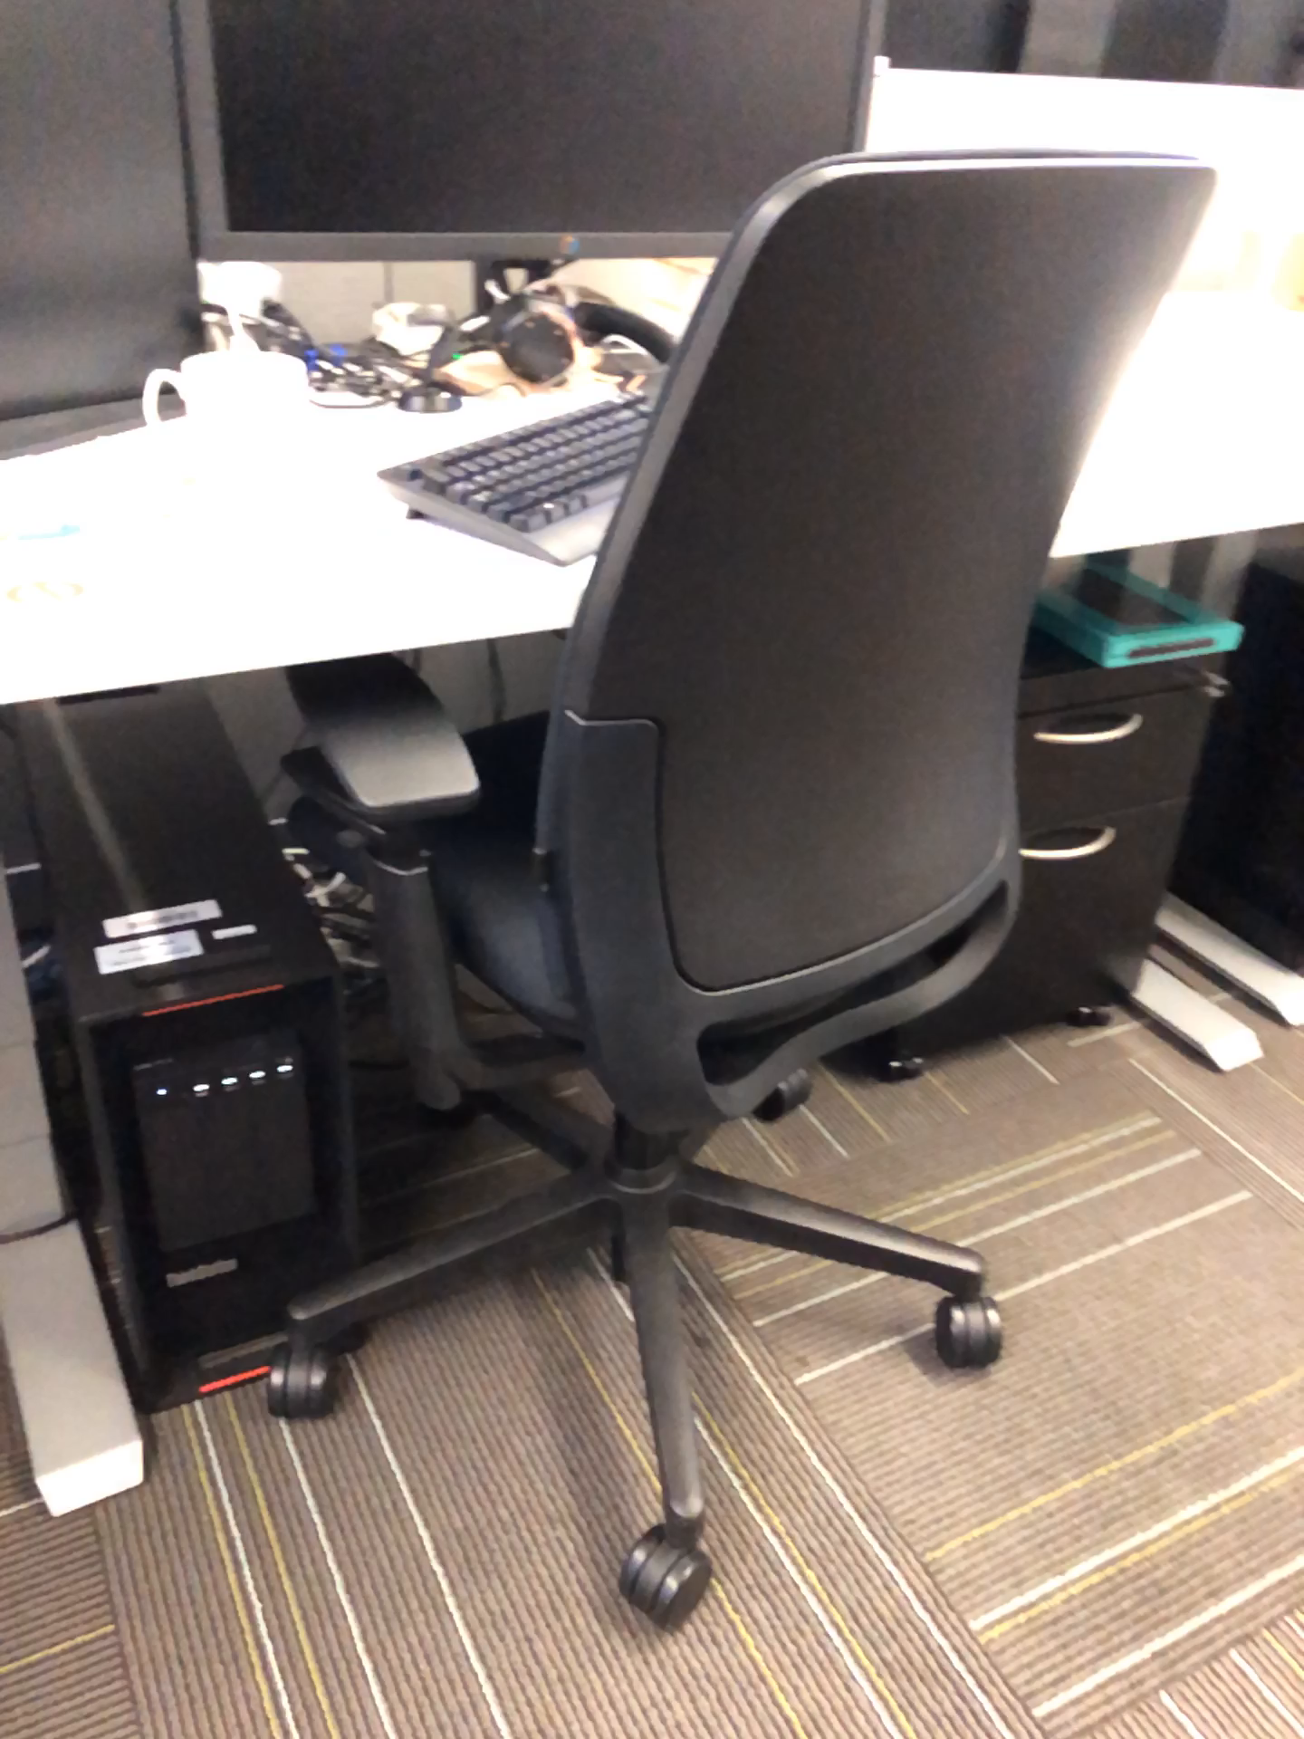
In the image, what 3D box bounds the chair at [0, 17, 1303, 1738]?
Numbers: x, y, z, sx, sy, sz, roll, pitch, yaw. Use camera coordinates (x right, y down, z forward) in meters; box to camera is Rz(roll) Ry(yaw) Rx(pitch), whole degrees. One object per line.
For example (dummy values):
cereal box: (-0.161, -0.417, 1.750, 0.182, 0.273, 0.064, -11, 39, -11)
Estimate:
chair: (0.039, -0.014, 1.067, 0.781, 1.014, 0.663, -13, 34, -26)
